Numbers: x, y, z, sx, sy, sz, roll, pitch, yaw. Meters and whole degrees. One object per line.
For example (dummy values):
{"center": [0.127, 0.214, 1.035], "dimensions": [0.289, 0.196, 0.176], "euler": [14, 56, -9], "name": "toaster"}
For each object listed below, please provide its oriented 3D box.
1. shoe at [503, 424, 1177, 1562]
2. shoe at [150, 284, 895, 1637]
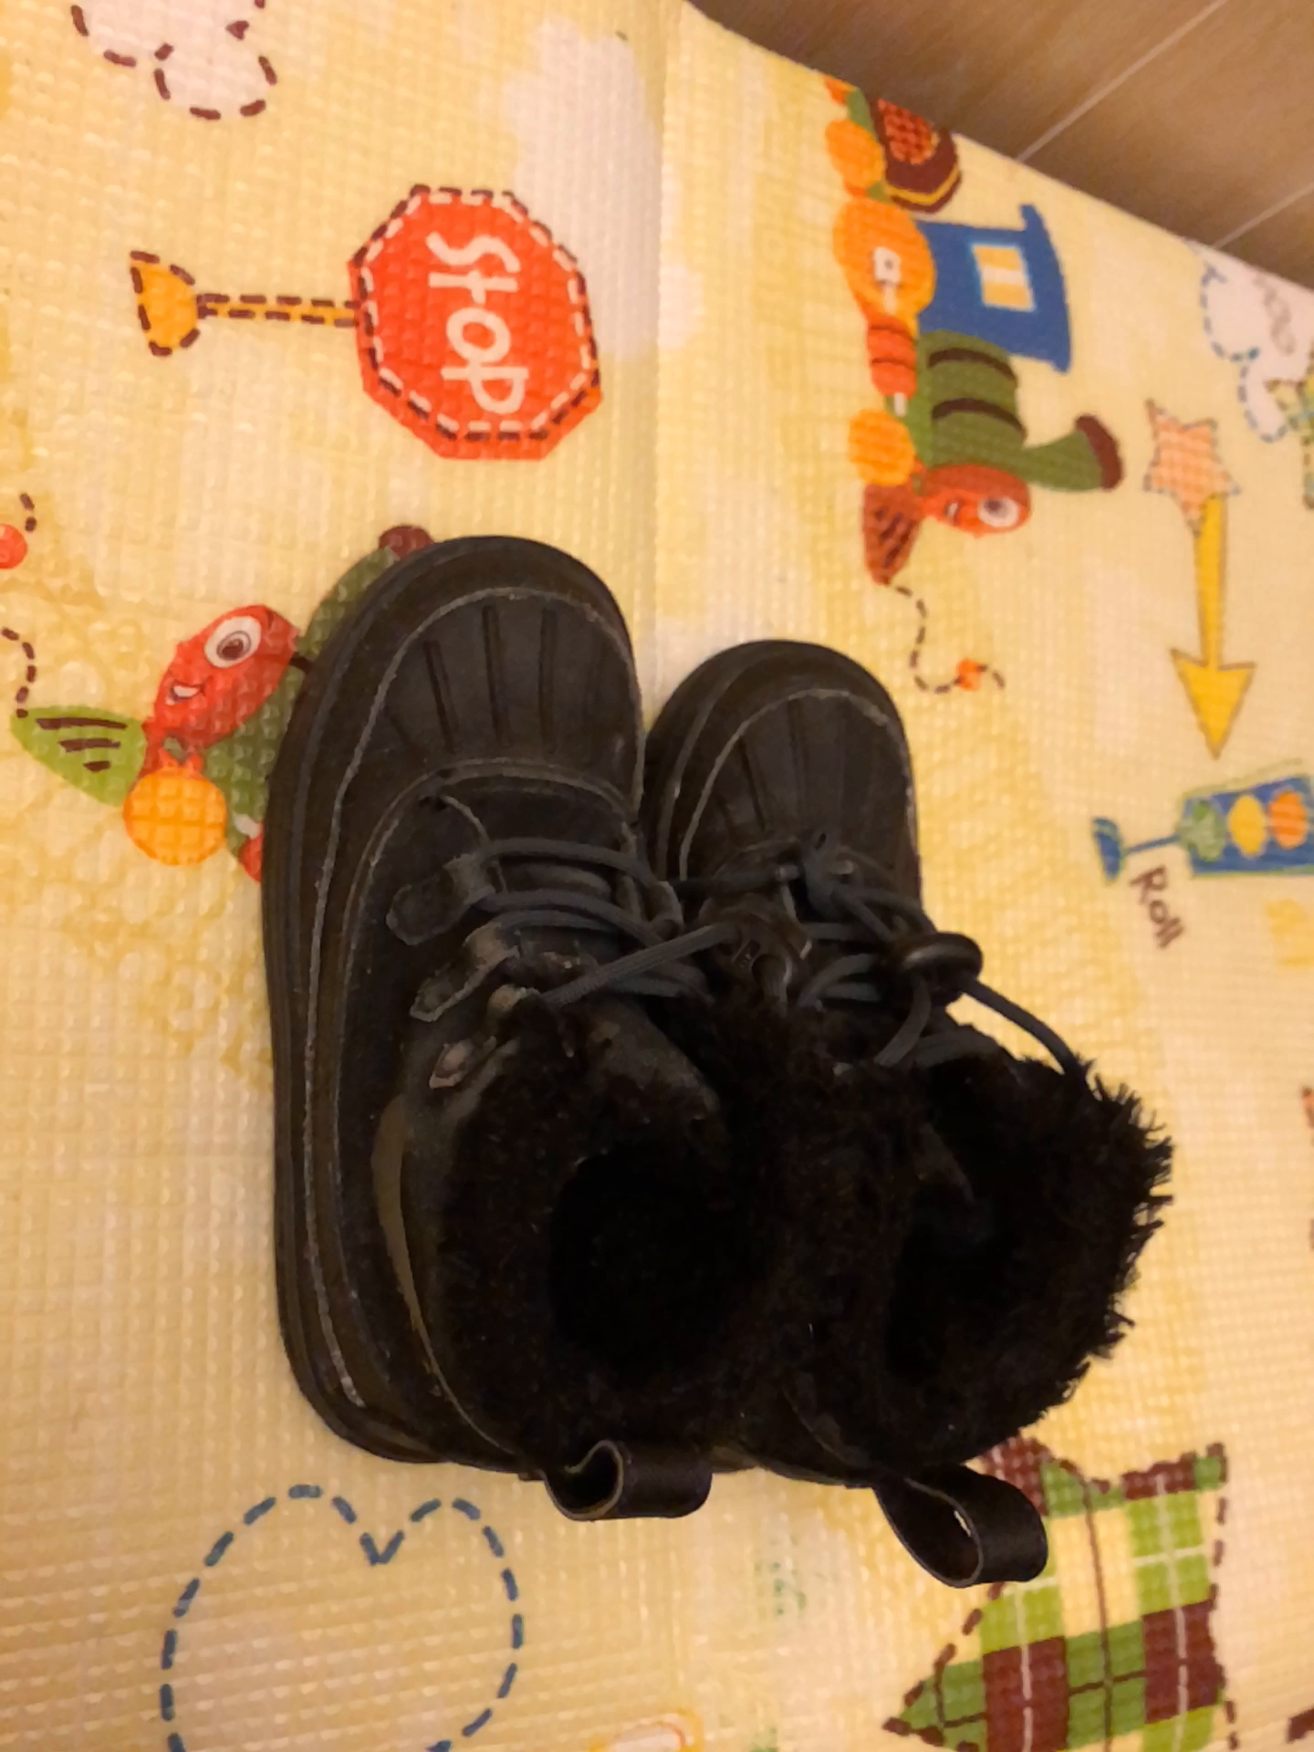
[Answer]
{"center": [0.043, 0.030, 0.346], "dimensions": [0.090, 0.110, 0.220], "euler": [15, 75, -27], "name": "shoe"}
{"center": [-0.030, 0.019, 0.297], "dimensions": [0.090, 0.120, 0.210], "euler": [11, 77, -28], "name": "shoe"}
